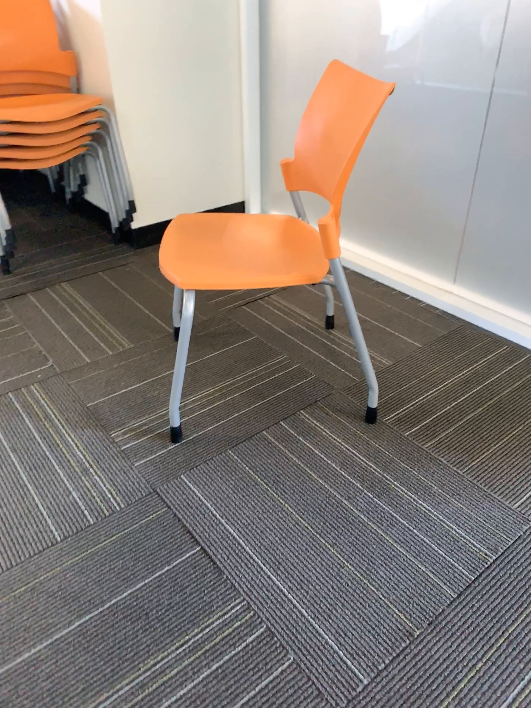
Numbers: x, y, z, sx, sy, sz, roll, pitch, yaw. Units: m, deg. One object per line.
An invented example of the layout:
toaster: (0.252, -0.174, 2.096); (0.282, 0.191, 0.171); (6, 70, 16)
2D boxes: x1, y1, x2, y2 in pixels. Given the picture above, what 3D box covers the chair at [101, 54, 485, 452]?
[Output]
chair: (0.012, -0.308, 1.444); (0.680, 0.795, 0.684); (-5, 34, -7)
